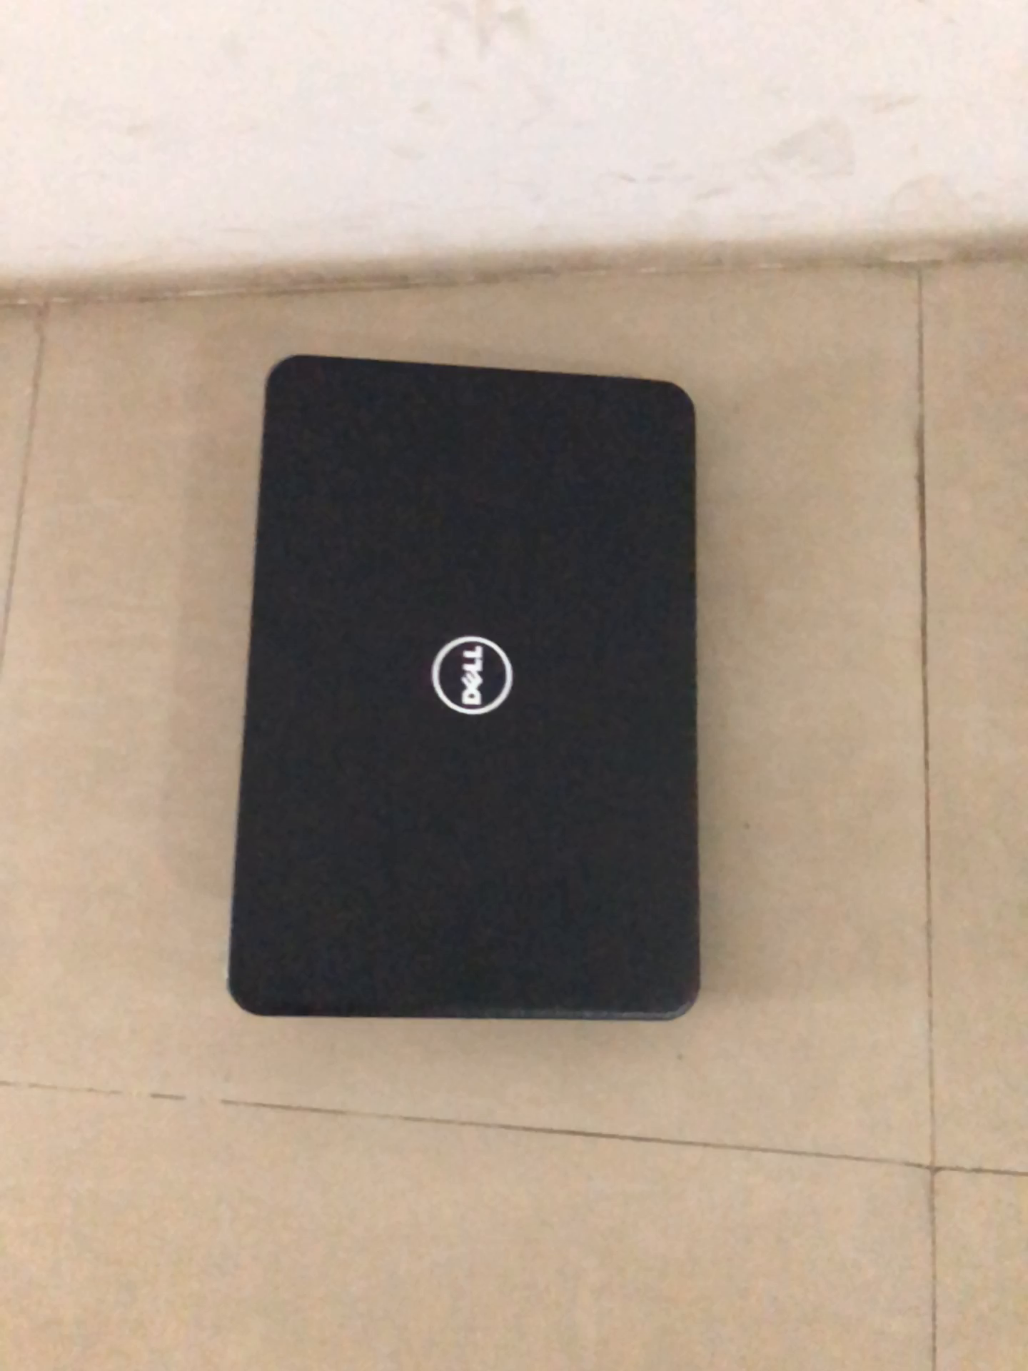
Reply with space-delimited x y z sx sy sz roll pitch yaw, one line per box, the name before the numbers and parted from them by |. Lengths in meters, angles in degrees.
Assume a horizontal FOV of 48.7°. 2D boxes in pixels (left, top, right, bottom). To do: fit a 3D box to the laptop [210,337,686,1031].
laptop | -0.030 -0.001 0.641 0.248 0.078 0.357 -1 81 12
